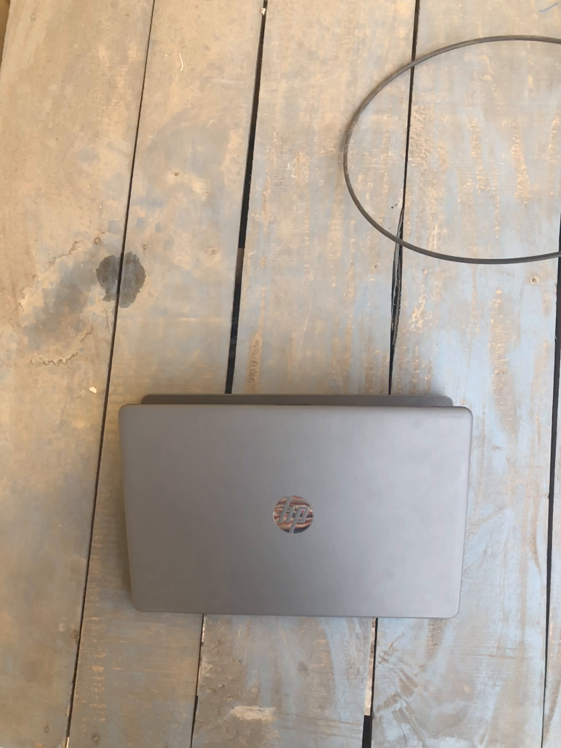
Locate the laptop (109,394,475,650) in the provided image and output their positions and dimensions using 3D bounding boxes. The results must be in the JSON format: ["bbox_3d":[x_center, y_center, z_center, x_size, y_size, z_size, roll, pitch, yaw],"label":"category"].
[{"bbox_3d":[0.012,0.150,0.670,0.361,0.097,0.243,1,84,3],"label":"laptop"}]
